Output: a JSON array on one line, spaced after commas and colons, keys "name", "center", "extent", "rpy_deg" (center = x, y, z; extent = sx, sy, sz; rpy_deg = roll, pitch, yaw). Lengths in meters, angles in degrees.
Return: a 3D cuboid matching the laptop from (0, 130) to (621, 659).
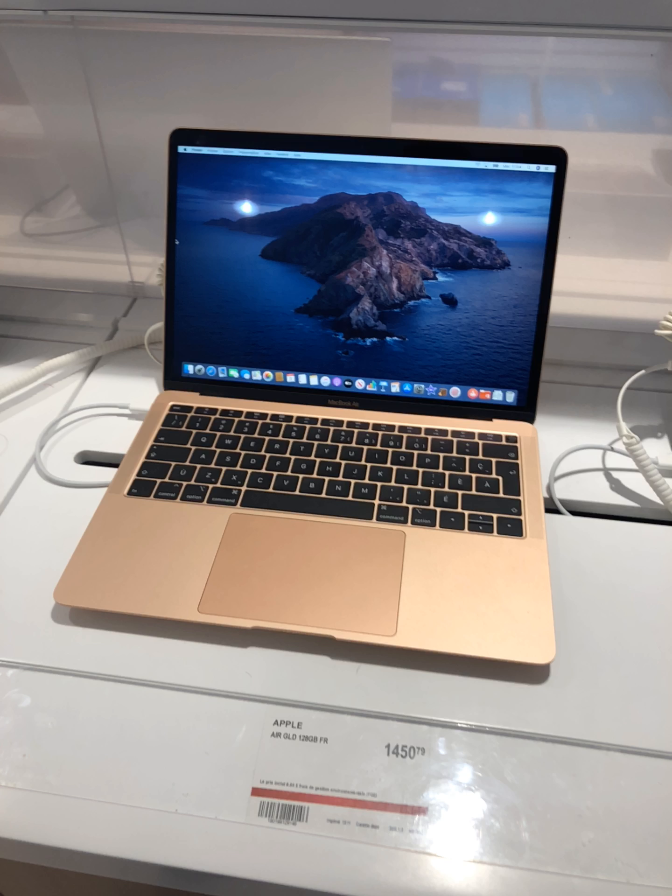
[{"name": "laptop", "center": [-0.004, -0.059, 0.492], "extent": [0.291, 0.170, 0.305], "rpy_deg": [5, 44, 6]}]
